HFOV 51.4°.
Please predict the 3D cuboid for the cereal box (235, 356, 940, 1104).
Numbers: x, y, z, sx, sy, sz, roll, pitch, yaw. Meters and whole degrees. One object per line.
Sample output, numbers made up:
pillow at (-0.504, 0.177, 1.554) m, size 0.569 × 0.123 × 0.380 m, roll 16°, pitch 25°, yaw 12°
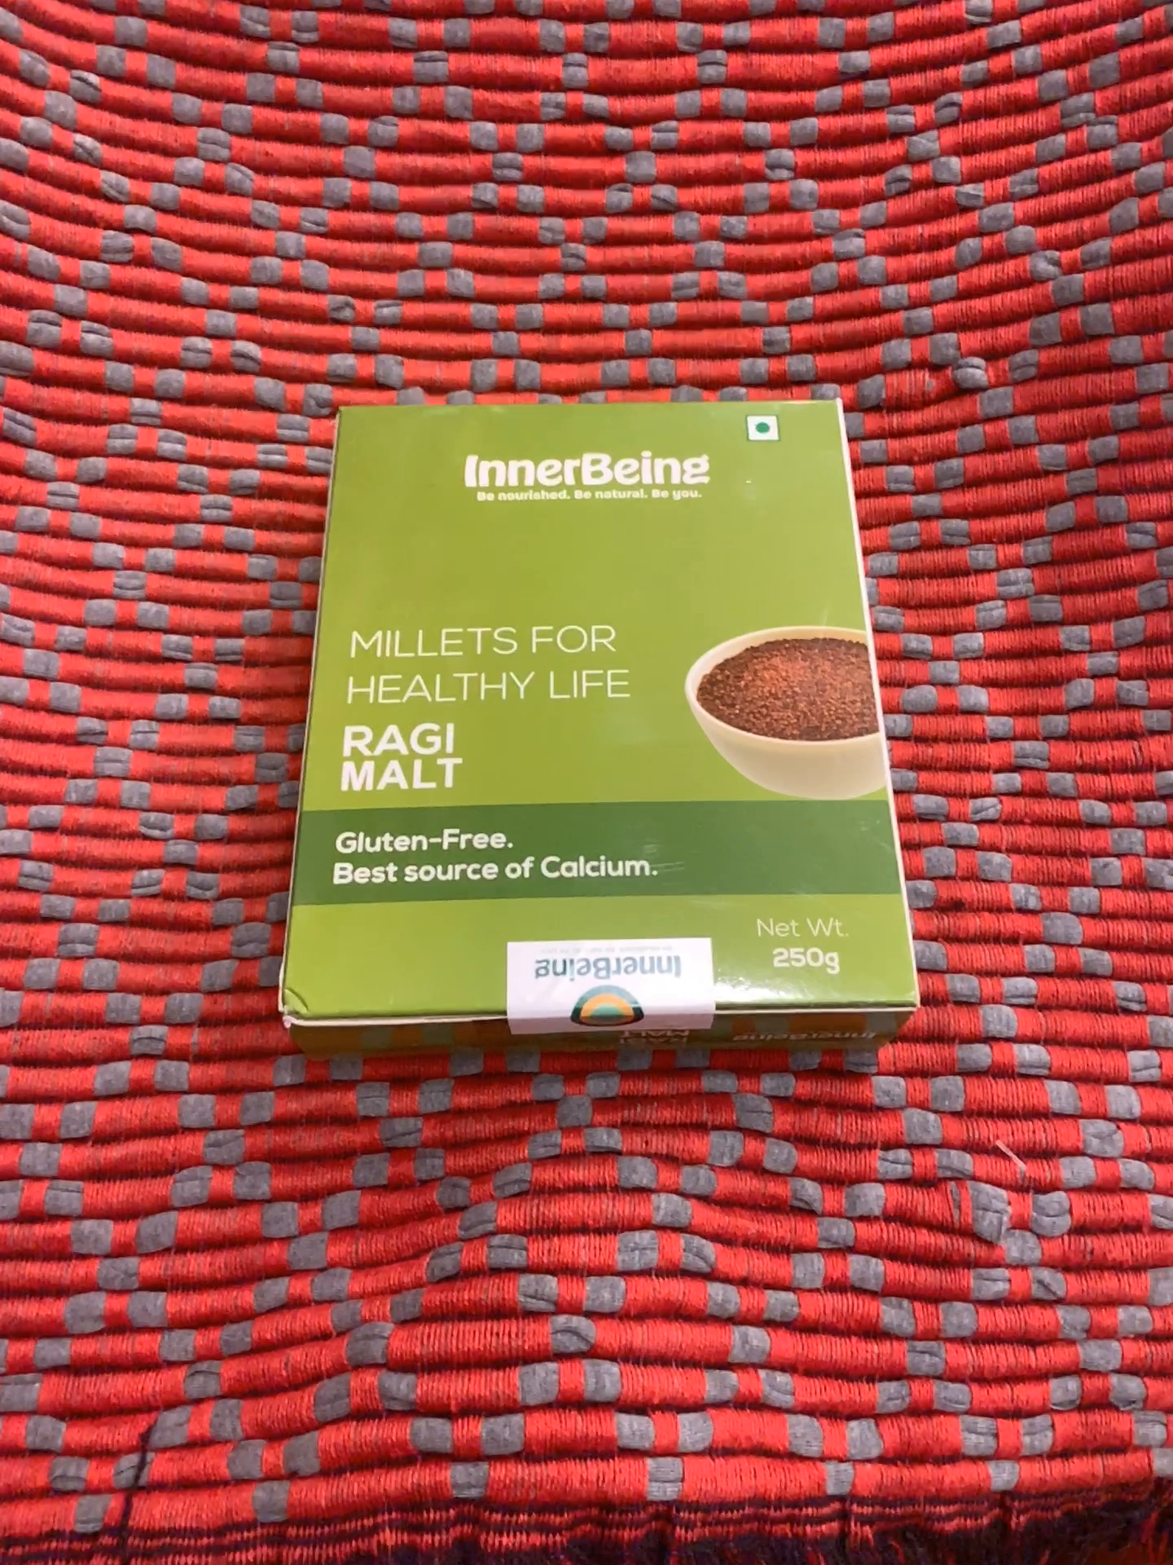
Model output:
cereal box at (-0.001, -0.017, 0.285) m, size 0.130 × 0.050 × 0.170 m, roll -1°, pitch 63°, yaw 0°
